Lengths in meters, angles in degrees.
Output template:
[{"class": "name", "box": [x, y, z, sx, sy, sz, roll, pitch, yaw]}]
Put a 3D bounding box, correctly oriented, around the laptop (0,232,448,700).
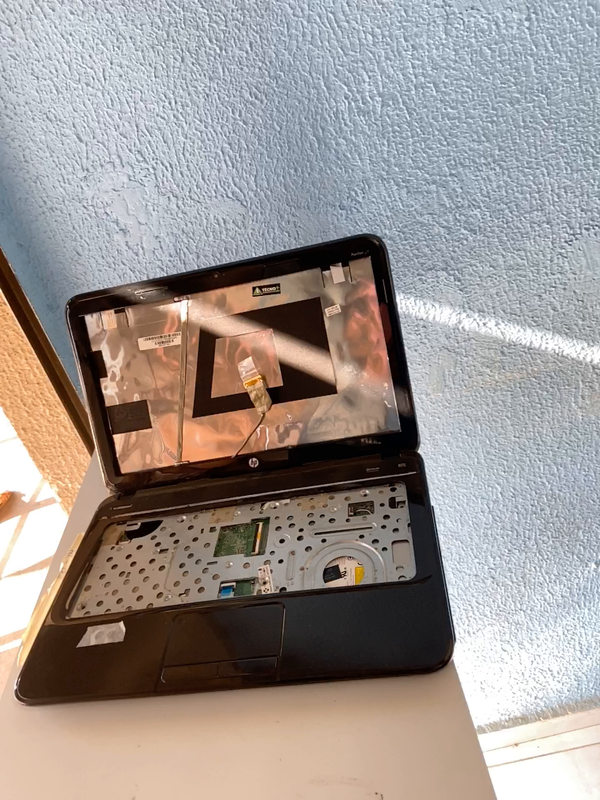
[{"class": "laptop", "box": [-0.074, 0.035, 0.534, 0.335, 0.186, 0.326, -10, 32, 11]}]
